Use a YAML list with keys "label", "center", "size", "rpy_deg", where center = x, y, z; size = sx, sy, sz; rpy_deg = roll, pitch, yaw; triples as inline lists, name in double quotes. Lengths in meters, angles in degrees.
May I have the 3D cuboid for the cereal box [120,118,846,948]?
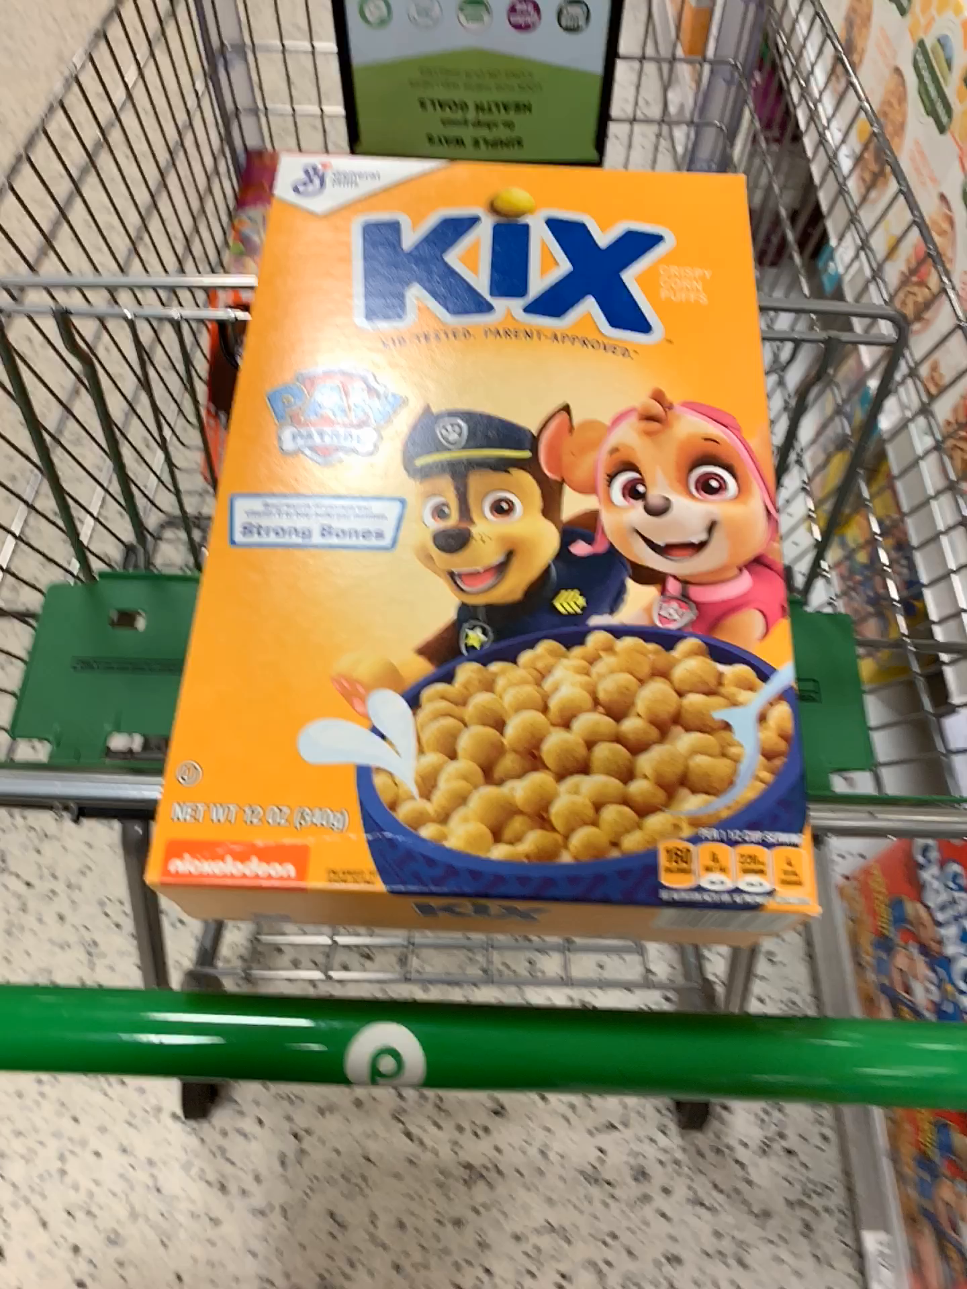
- label: "cereal box"
  center: [0.006, -0.057, 0.392]
  size: [0.210, 0.079, 0.322]
  rpy_deg: [3, 65, 0]
